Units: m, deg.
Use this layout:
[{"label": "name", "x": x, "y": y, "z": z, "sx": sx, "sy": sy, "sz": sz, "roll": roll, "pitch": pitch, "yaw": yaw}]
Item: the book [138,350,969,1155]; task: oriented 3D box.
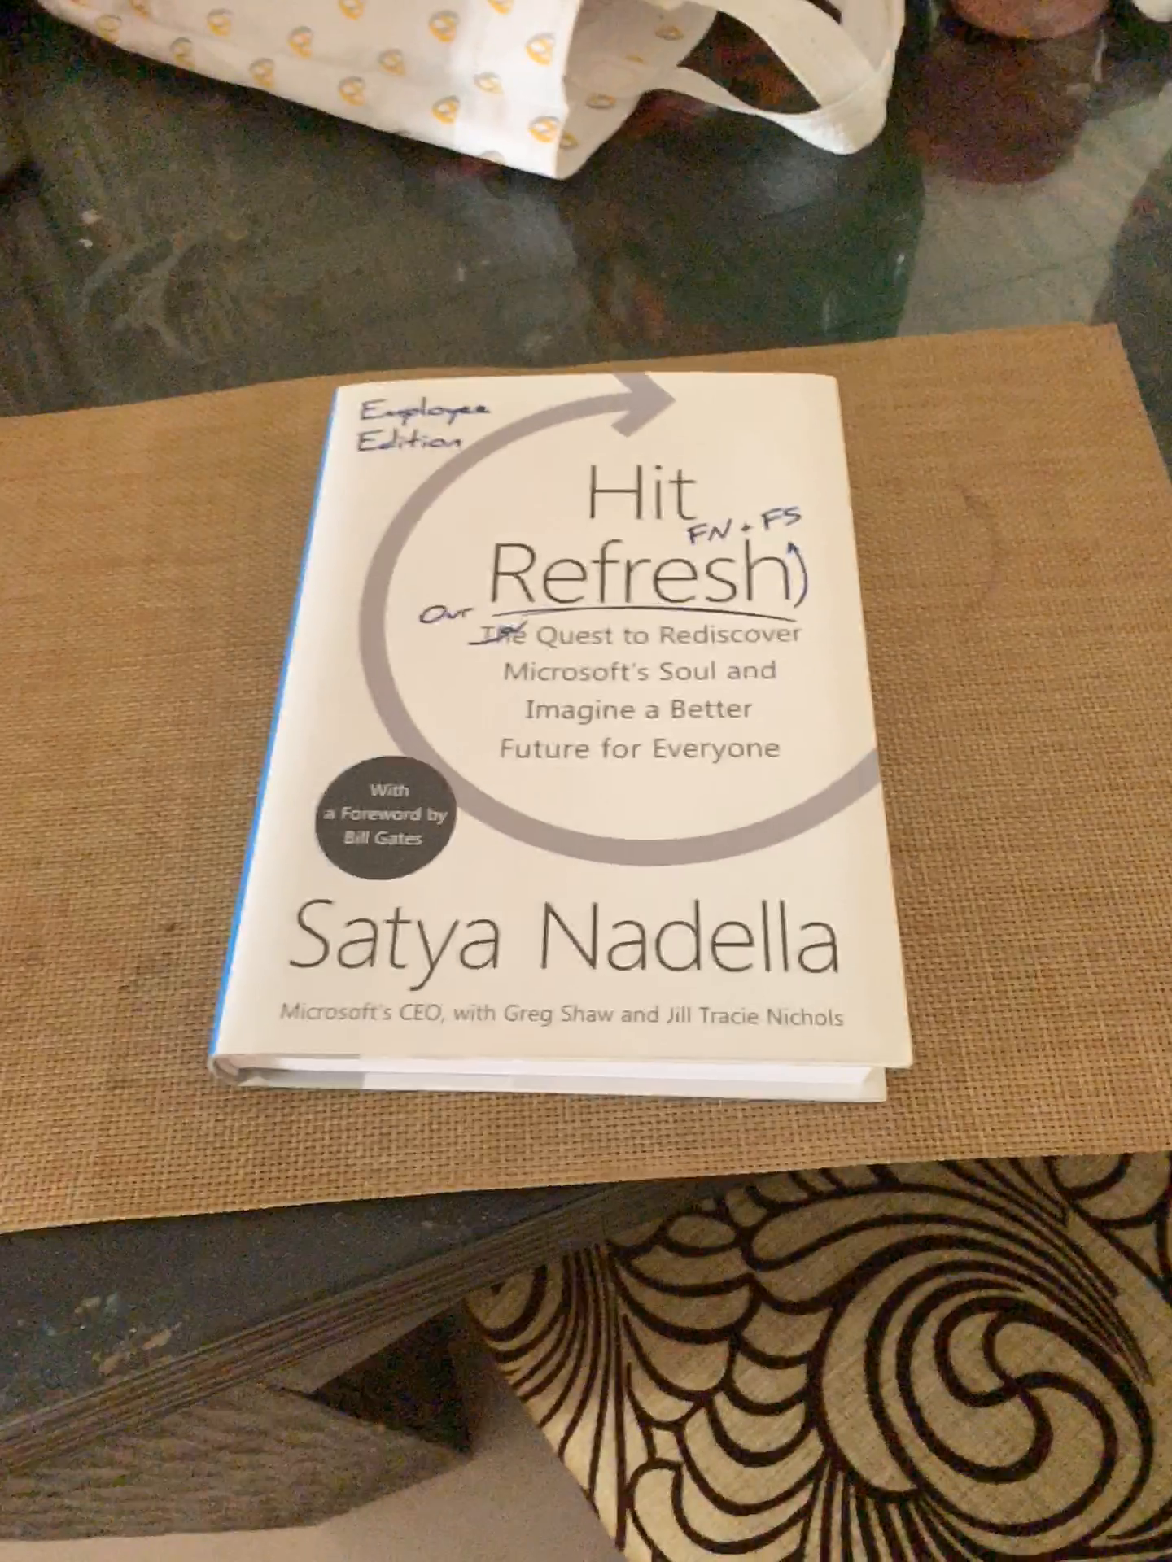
[{"label": "book", "x": -0.003, "y": -0.026, "z": 0.358, "sx": 0.190, "sy": 0.040, "sz": 0.251, "roll": 1, "pitch": 59, "yaw": 3}]
